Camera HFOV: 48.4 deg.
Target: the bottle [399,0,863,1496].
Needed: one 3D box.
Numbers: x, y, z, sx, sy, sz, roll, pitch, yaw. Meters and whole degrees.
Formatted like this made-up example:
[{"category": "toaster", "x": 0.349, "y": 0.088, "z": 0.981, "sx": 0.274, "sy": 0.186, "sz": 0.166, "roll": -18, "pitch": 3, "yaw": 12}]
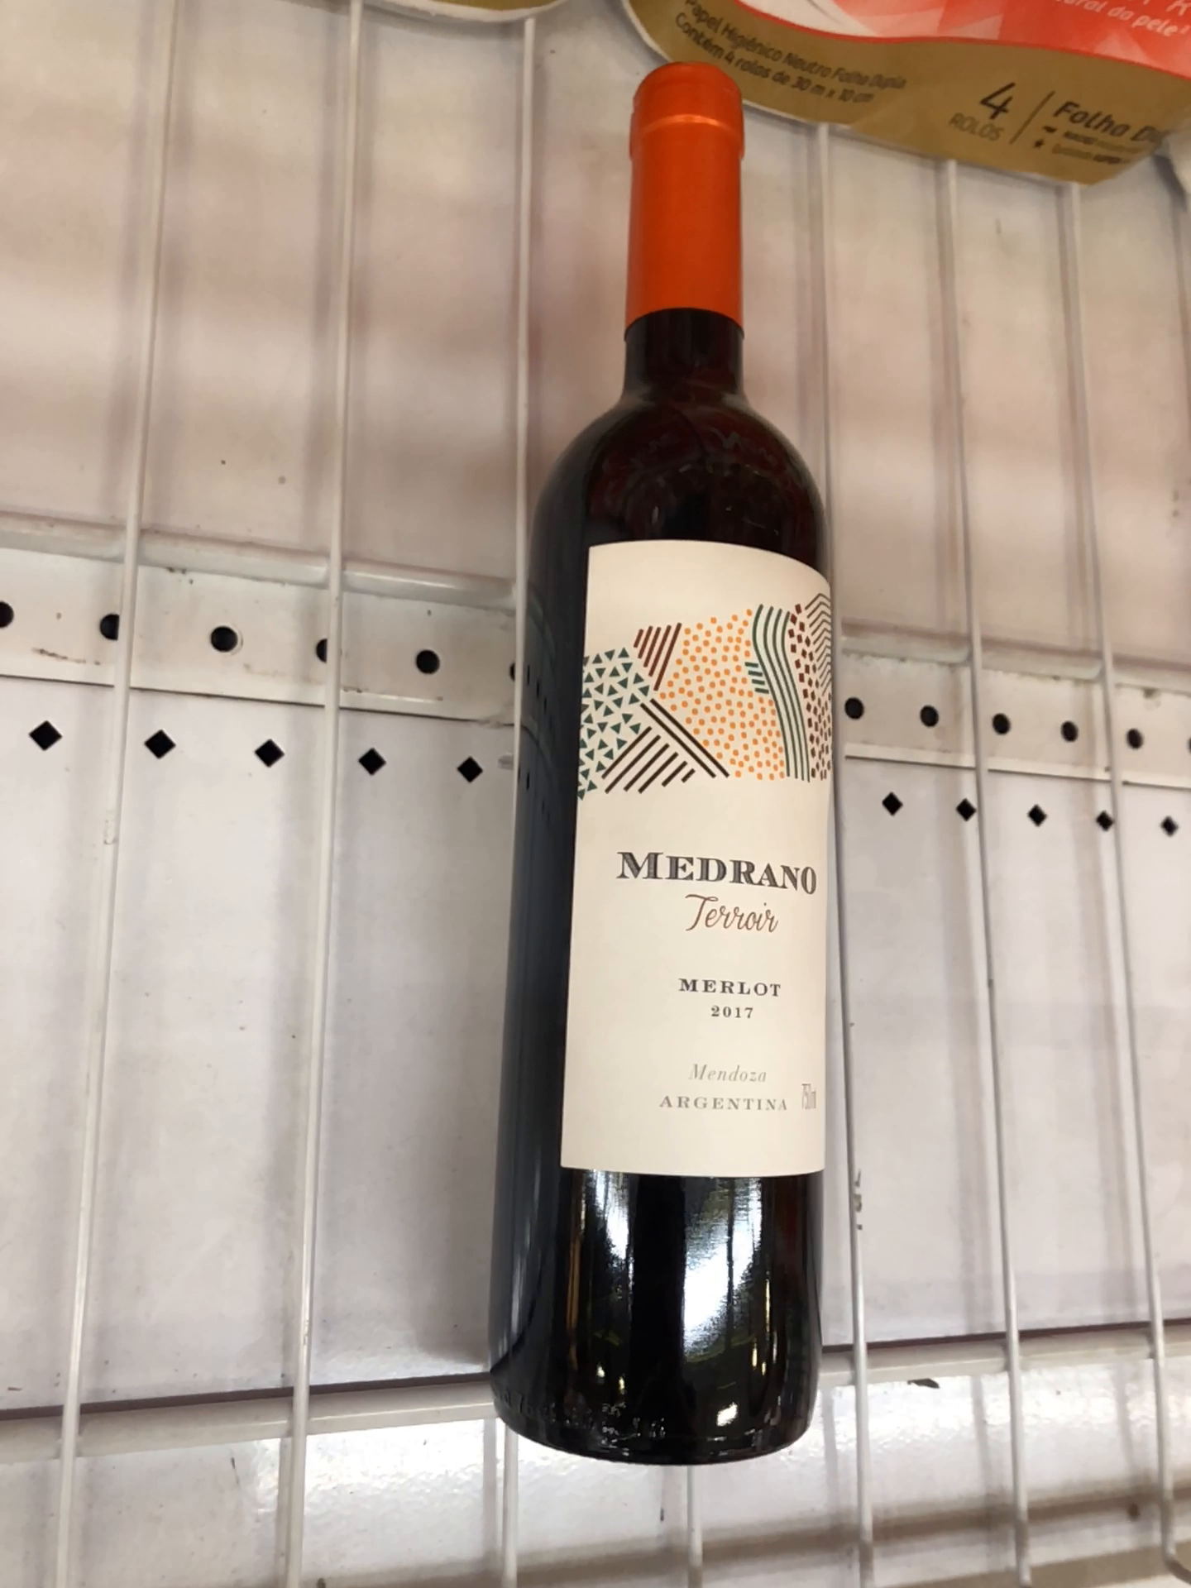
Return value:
[{"category": "bottle", "x": 0.009, "y": -0.025, "z": 0.318, "sx": 0.080, "sy": 0.070, "sz": 0.330, "roll": 6, "pitch": 78, "yaw": -20}]
